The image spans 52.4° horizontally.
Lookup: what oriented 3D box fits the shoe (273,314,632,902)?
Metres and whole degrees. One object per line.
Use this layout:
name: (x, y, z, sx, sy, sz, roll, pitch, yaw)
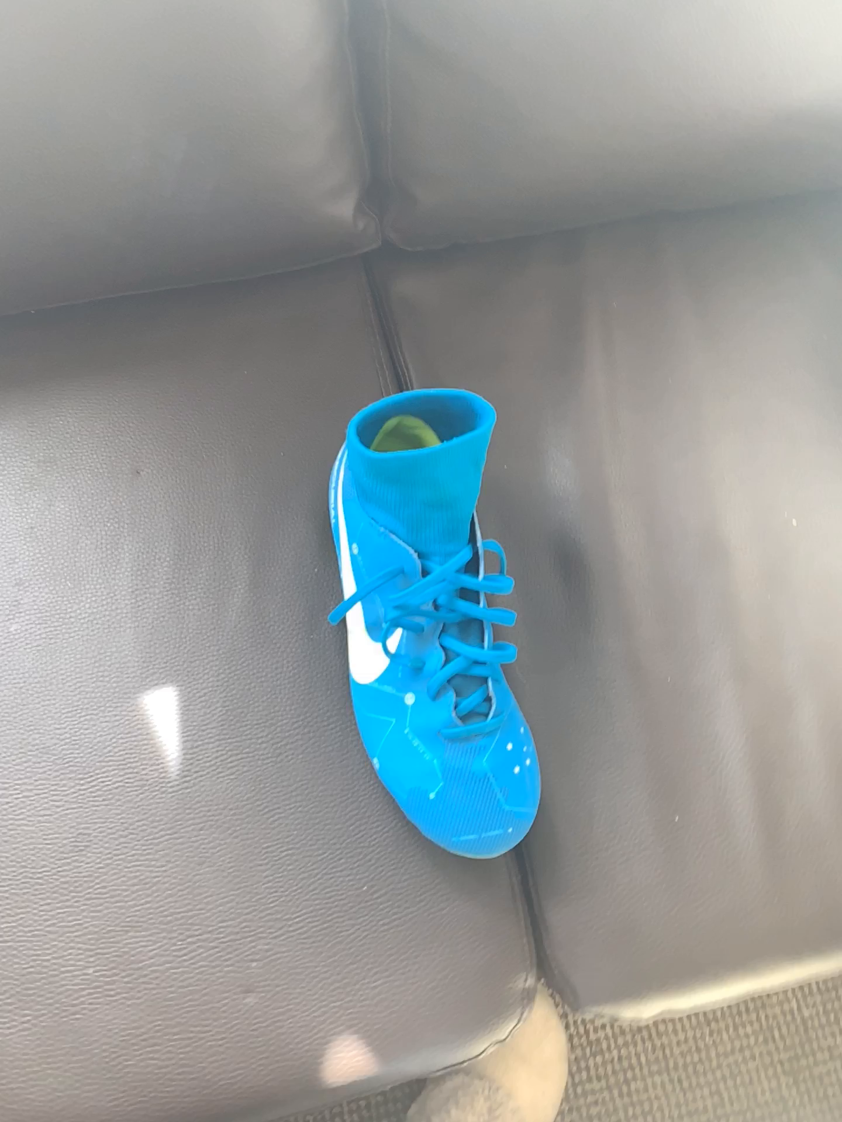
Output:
shoe: (0.005, 0.024, 0.431, 0.098, 0.120, 0.251, -12, 72, -6)
